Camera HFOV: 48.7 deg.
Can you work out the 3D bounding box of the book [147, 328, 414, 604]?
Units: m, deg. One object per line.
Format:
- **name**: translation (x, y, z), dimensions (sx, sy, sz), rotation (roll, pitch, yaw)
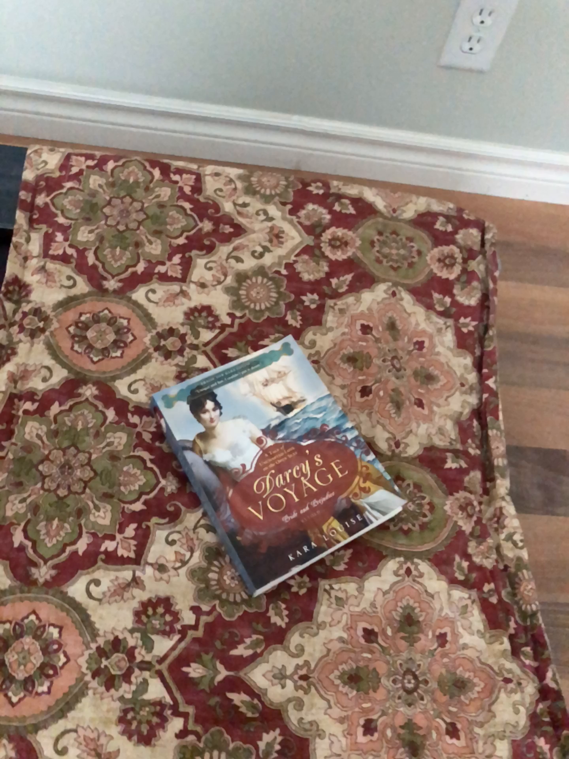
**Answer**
- **book**: translation (-0.008, 0.066, 0.560), dimensions (0.155, 0.034, 0.200), rotation (-24, 67, -21)
